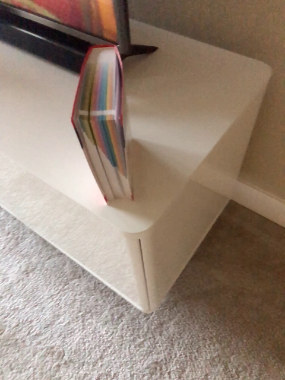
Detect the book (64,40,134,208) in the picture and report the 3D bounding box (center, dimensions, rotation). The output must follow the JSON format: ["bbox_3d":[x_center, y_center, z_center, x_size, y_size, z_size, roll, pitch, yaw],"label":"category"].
[{"bbox_3d":[-0.050,-0.087,0.452,0.060,0.179,0.150,-2,55,2],"label":"book"}]
